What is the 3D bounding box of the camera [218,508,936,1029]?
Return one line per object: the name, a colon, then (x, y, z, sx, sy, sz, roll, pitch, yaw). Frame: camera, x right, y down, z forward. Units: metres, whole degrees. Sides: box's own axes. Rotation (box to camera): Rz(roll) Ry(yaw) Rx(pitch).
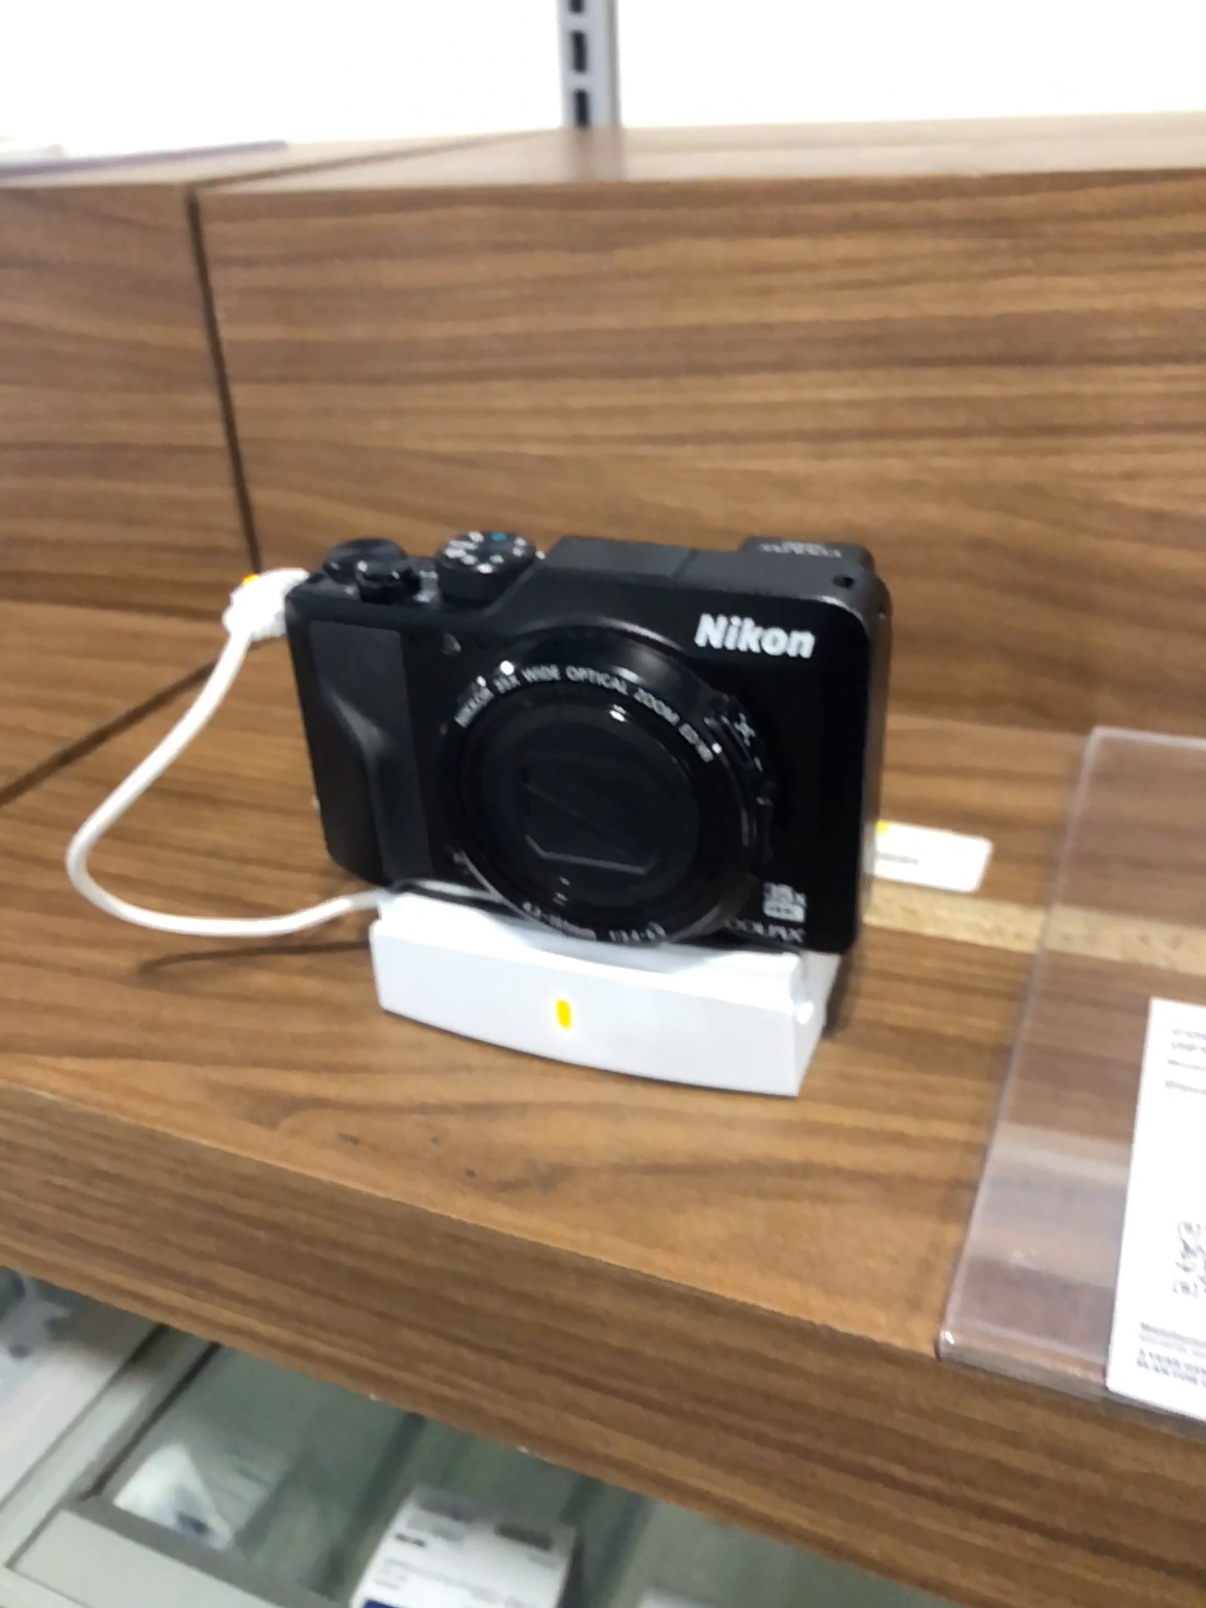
camera: (-0.004, -0.012, 0.260, 0.120, 0.070, 0.050, 9, 29, 22)
